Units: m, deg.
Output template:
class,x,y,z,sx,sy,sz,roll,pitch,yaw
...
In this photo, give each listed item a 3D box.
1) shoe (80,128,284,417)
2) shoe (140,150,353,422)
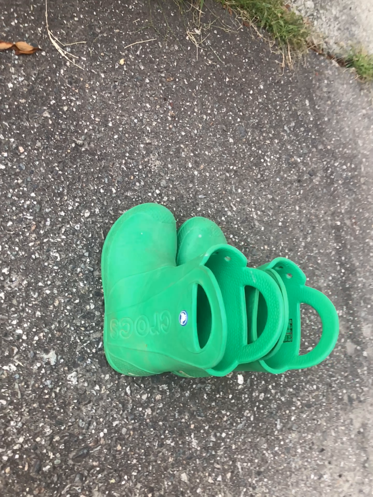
class,x,y,z,sx,sy,sz,roll,pitch,yaw
shoe,-0.014,0.036,0.473,0.110,0.229,0.250,12,75,-32
shoe,0.062,0.054,0.524,0.110,0.259,0.260,12,75,-32
